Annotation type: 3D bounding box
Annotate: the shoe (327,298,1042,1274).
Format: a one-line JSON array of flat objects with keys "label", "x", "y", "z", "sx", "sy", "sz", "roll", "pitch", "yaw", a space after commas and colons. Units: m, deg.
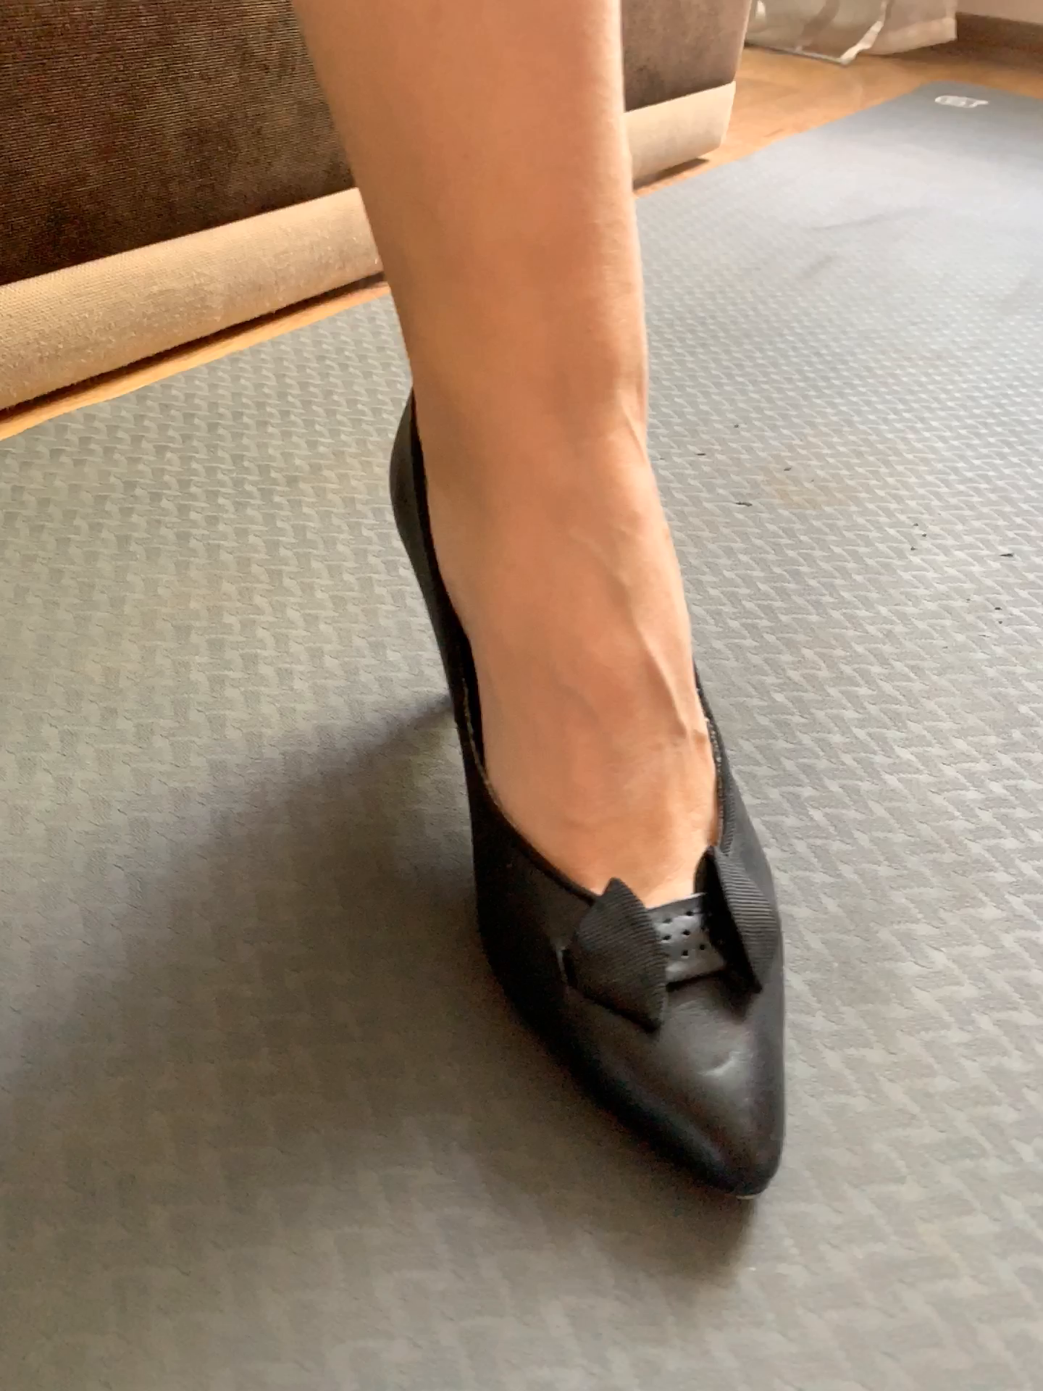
[{"label": "shoe", "x": 0.024, "y": -0.007, "z": 0.269, "sx": 0.090, "sy": 0.099, "sz": 0.231, "roll": -10, "pitch": 41, "yaw": -19}]
